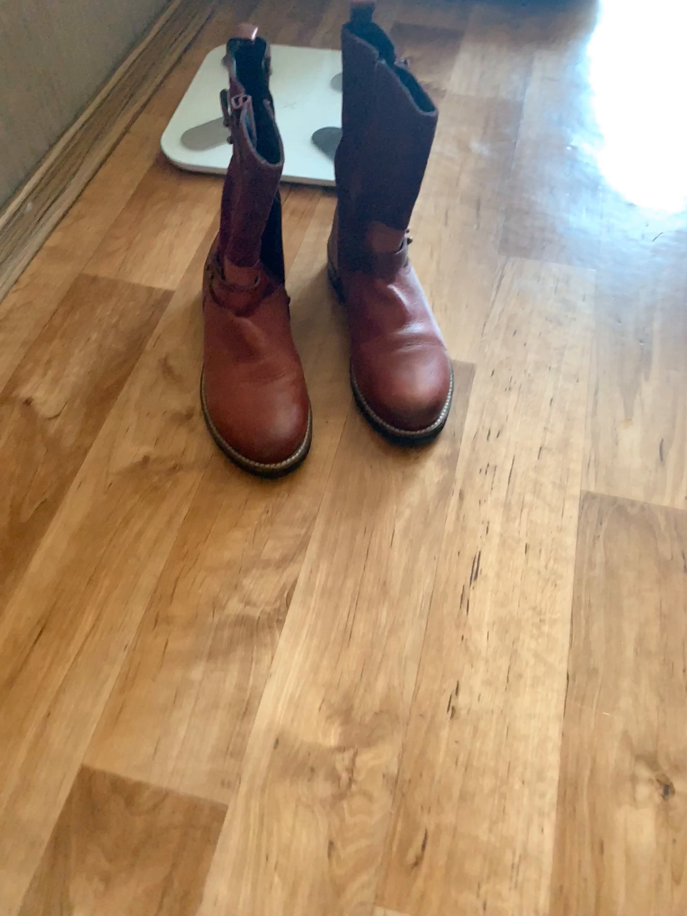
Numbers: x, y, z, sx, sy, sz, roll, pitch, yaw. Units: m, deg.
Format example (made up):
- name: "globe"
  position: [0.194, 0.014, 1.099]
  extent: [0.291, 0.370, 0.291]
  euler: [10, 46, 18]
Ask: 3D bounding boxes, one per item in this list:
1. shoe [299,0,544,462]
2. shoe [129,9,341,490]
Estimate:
- name: "shoe"
  position: [0.039, -0.173, 0.548]
  extent: [0.090, 0.239, 0.251]
  euler: [-11, 56, -7]
- name: "shoe"
  position: [-0.079, -0.154, 0.550]
  extent: [0.100, 0.249, 0.251]
  euler: [-11, 56, -7]
